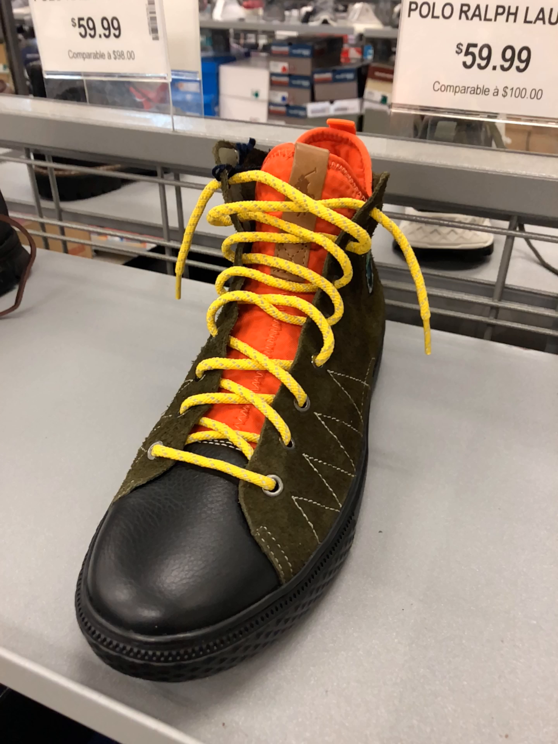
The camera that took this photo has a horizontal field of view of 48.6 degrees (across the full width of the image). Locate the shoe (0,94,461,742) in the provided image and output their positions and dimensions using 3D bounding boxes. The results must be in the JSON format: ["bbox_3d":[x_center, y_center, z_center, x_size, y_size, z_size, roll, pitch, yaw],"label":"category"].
[{"bbox_3d":[0.001,-0.023,0.320,0.125,0.171,0.300,11,34,15],"label":"shoe"}]
